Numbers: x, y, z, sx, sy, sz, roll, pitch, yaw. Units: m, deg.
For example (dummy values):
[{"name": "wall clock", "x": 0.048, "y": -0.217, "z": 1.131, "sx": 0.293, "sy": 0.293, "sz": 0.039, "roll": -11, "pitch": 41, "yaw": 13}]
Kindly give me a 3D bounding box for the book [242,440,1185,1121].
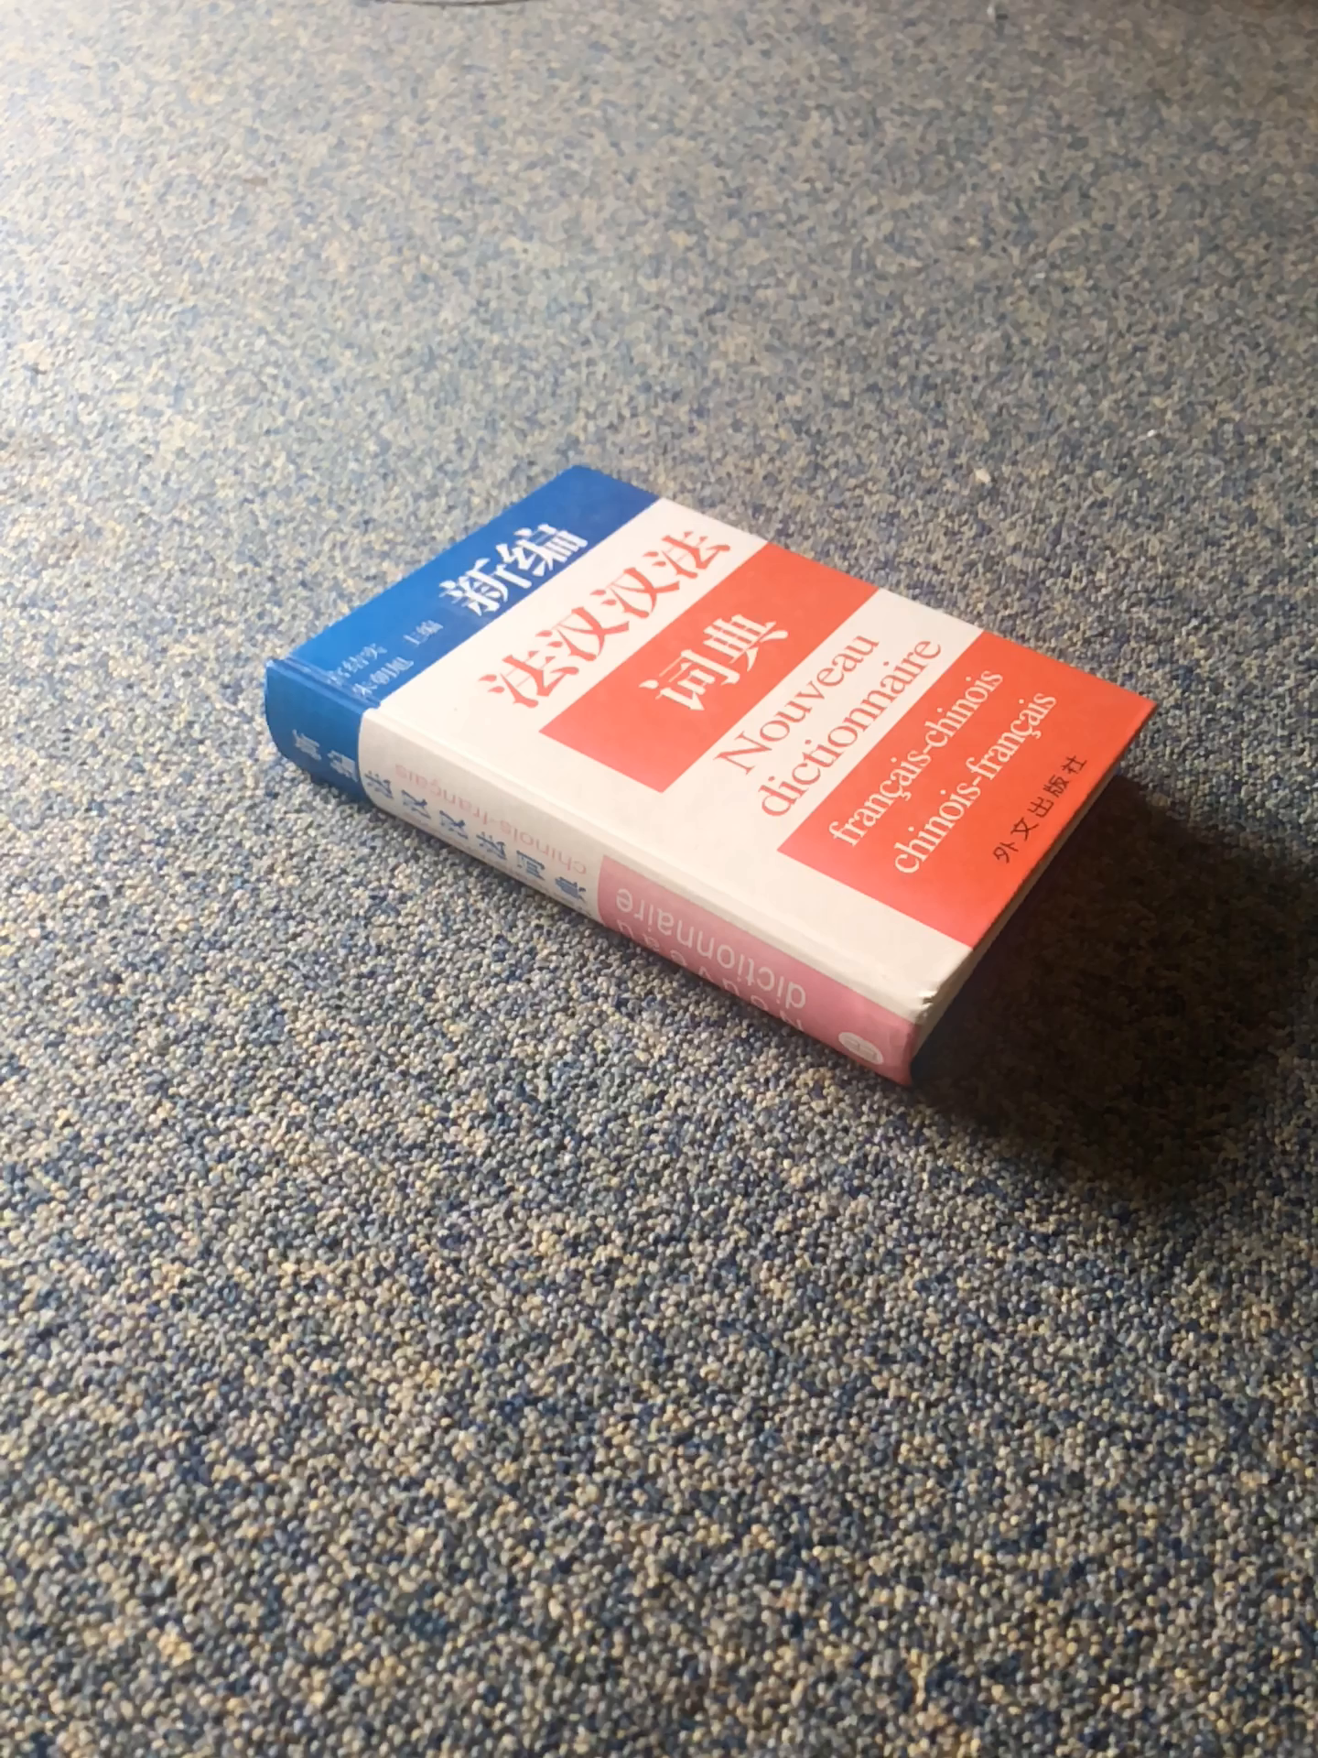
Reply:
[{"name": "book", "x": 0.017, "y": -0.045, "z": 0.409, "sx": 0.208, "sy": 0.034, "sz": 0.153, "roll": 28, "pitch": 50, "yaw": 21}]
